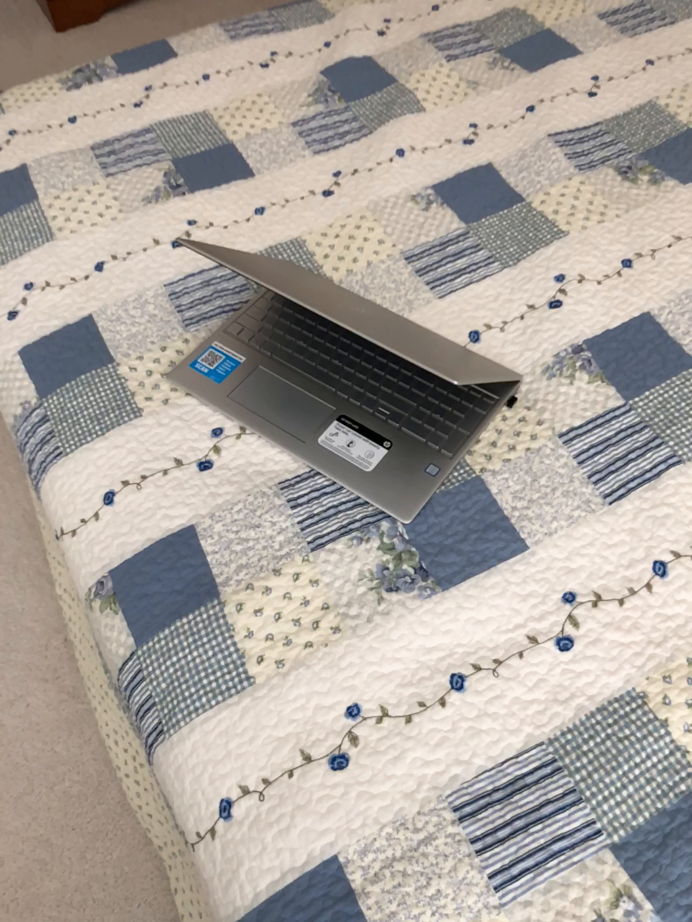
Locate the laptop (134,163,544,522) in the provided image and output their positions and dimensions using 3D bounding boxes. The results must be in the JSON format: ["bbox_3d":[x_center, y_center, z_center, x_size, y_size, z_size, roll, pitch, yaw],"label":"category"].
[{"bbox_3d":[-0.006,-0.144,0.847,0.348,0.158,0.242,30,61,21],"label":"laptop"}]
